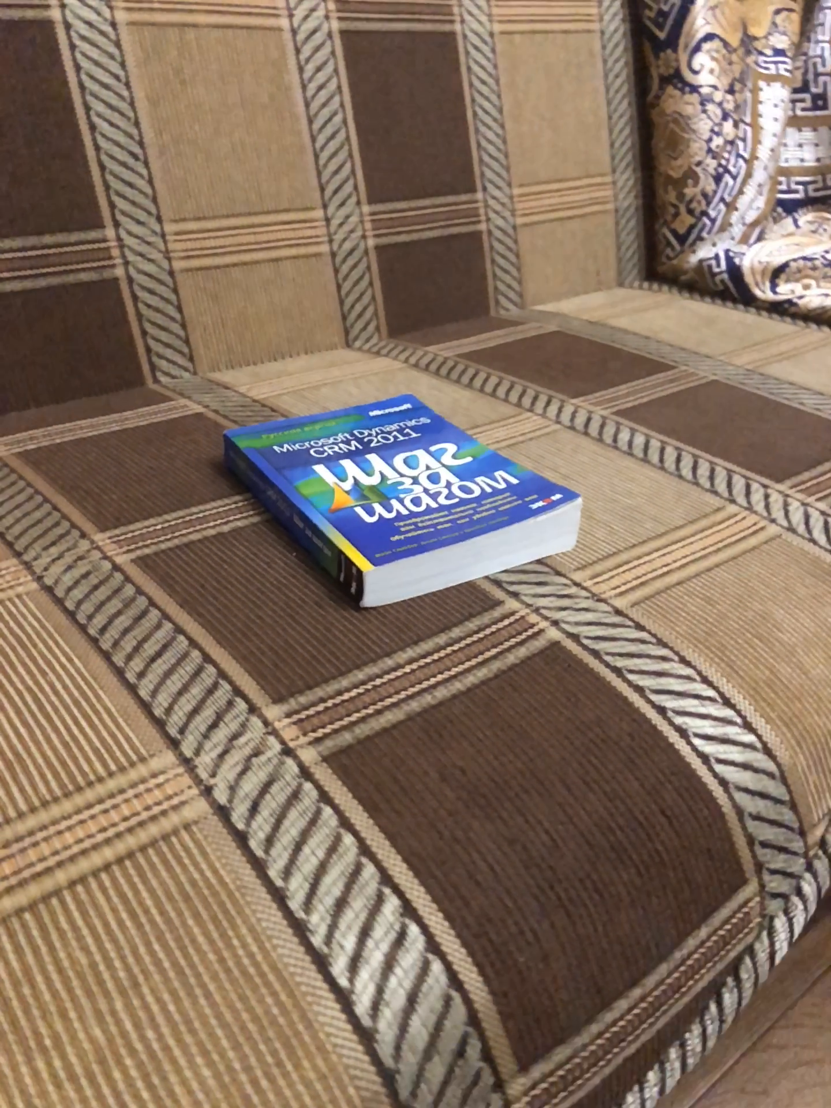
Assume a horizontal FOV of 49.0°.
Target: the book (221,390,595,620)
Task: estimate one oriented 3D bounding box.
[{"bbox_3d":[-0.013,-0.043,0.572,0.150,0.033,0.201,-15,35,-28],"label":"book"}]
